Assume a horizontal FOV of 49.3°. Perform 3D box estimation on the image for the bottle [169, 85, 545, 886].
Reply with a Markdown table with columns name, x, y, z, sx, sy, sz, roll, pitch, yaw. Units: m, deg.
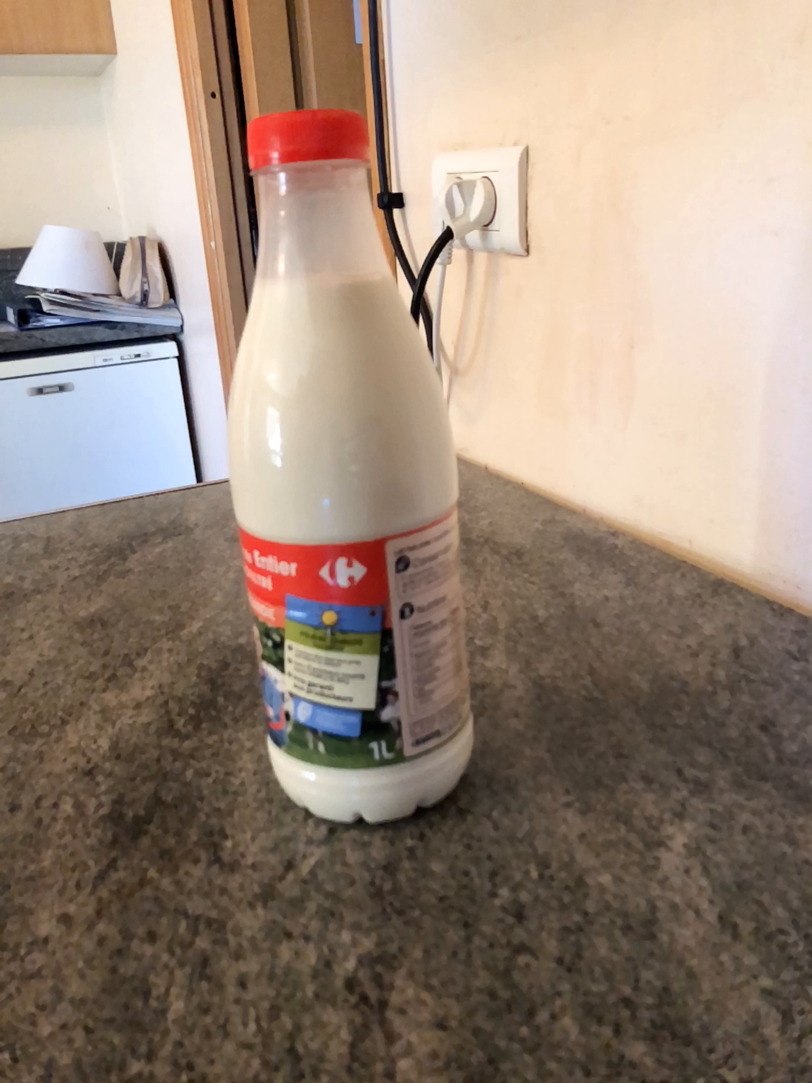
| name | x | y | z | sx | sy | sz | roll | pitch | yaw |
| --- | --- | --- | --- | --- | --- | --- | --- | --- | --- |
| bottle | -0.011 | -0.019 | 0.322 | 0.080 | 0.249 | 0.090 | -18 | 24 | -36 |
